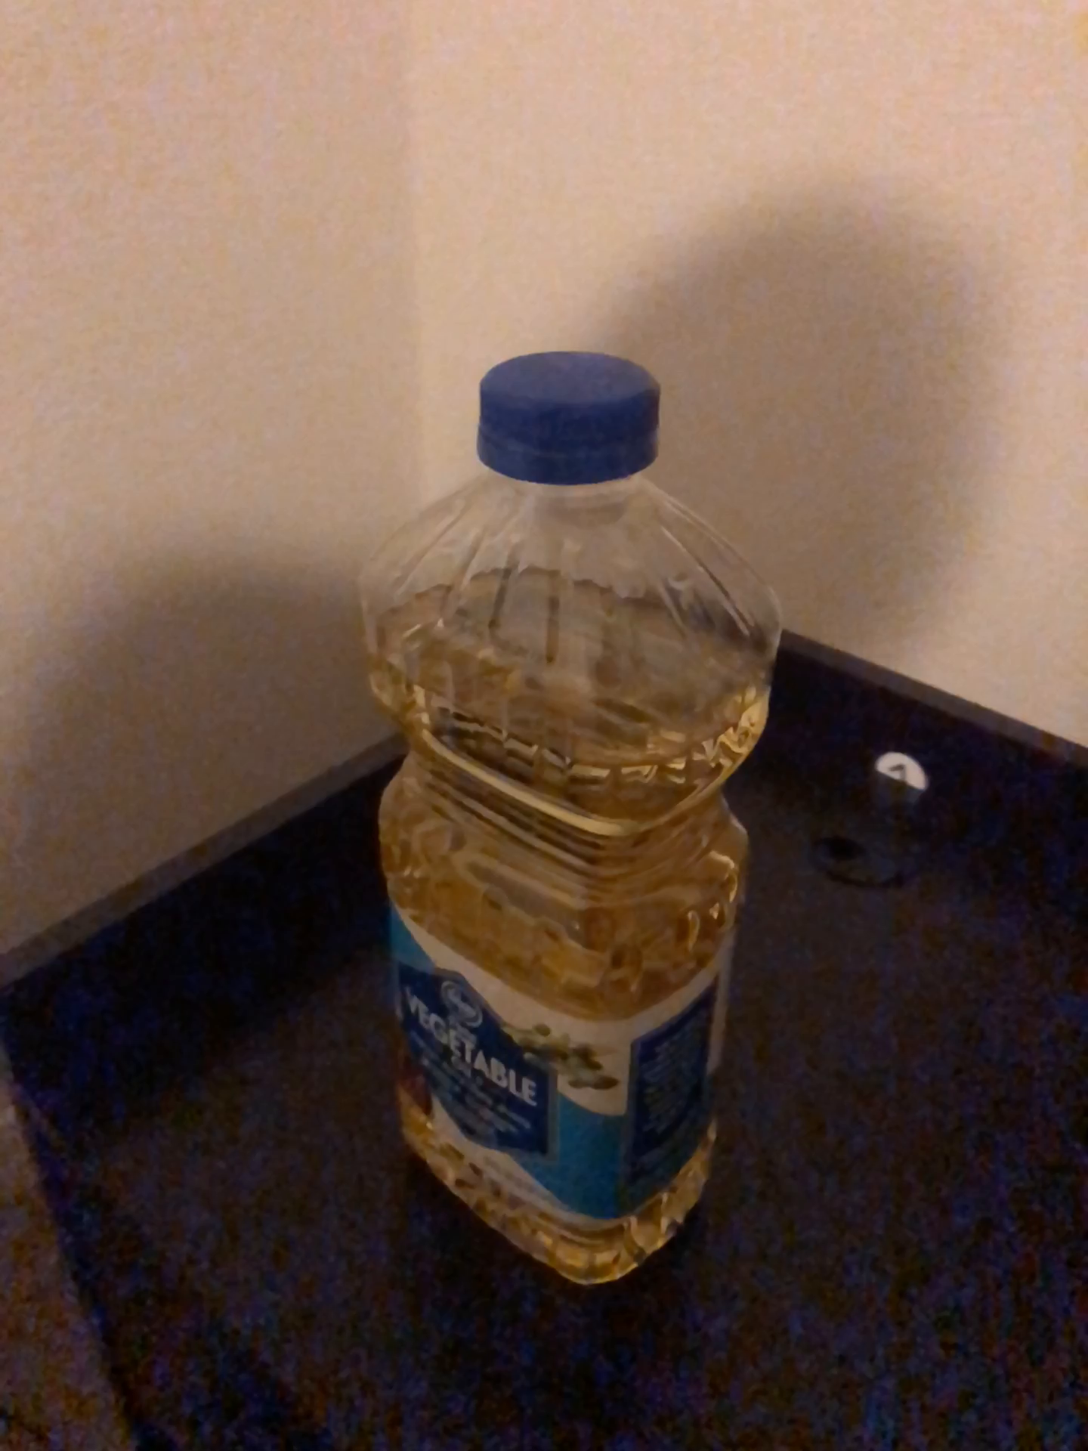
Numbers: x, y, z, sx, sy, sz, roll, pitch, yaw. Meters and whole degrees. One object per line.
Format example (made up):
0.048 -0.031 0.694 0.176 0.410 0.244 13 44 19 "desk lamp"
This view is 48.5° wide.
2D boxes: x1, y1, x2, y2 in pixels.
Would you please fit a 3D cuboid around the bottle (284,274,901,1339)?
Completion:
0.008 0.031 0.345 0.110 0.275 0.084 26 41 34 "bottle"
